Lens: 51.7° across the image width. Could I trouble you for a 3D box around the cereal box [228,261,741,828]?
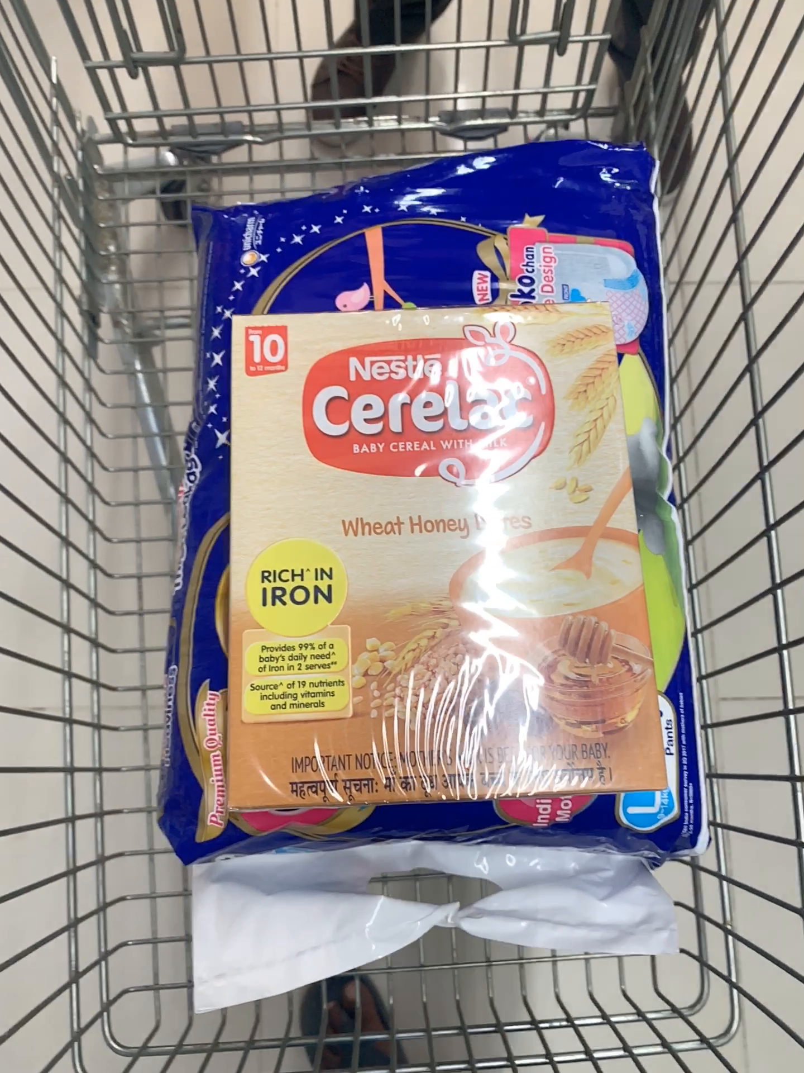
[{"bbox_3d":[0.021,0.002,0.310,0.160,0.060,0.190,-3,76,-1],"label":"cereal box"}]
